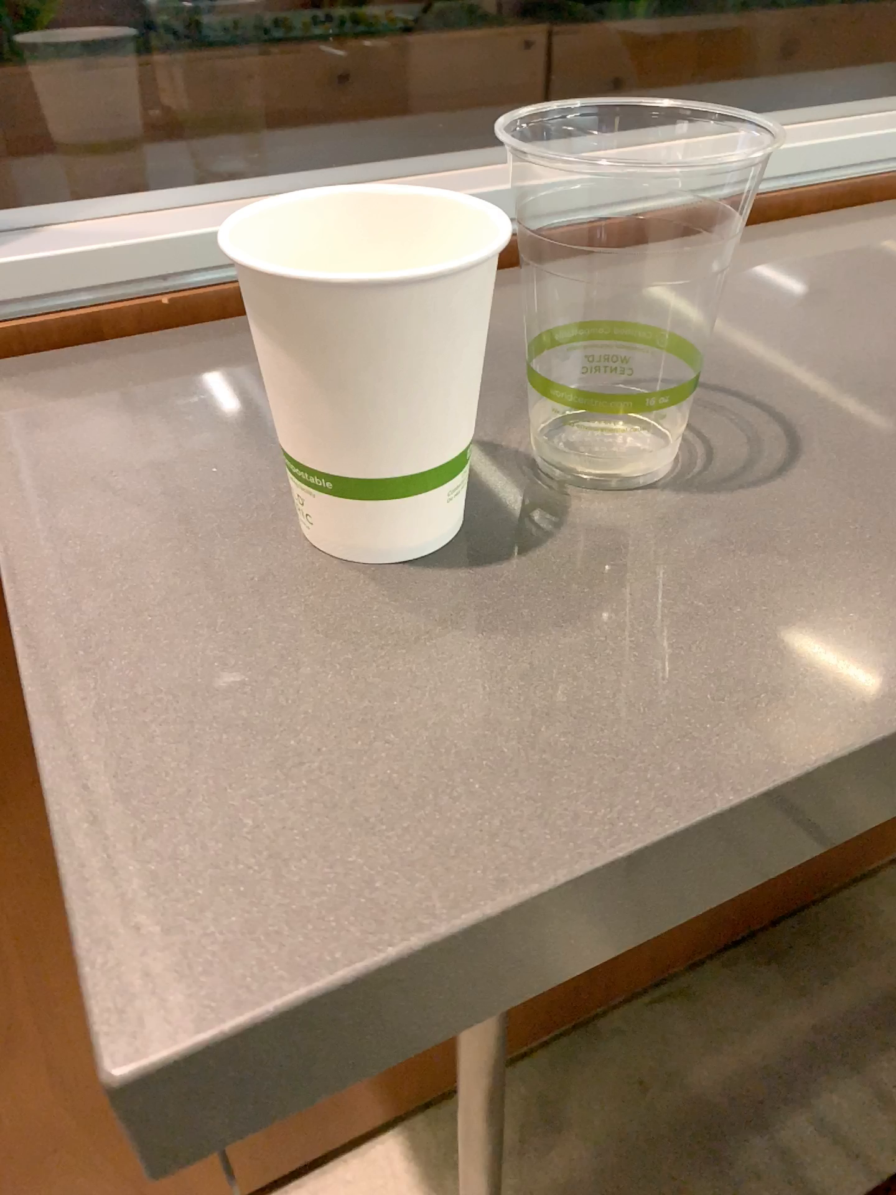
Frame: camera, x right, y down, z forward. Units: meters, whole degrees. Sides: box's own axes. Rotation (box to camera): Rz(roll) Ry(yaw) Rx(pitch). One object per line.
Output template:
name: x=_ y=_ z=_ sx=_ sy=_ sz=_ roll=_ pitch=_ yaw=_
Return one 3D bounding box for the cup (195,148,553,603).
cup: x=-0.026 y=-0.076 z=0.305 sx=0.090 sy=0.109 sz=0.091 roll=0 pitch=37 yaw=0

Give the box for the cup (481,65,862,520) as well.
cup: x=0.065 y=-0.110 z=0.326 sx=0.080 sy=0.119 sz=0.101 roll=-9 pitch=38 yaw=-11
